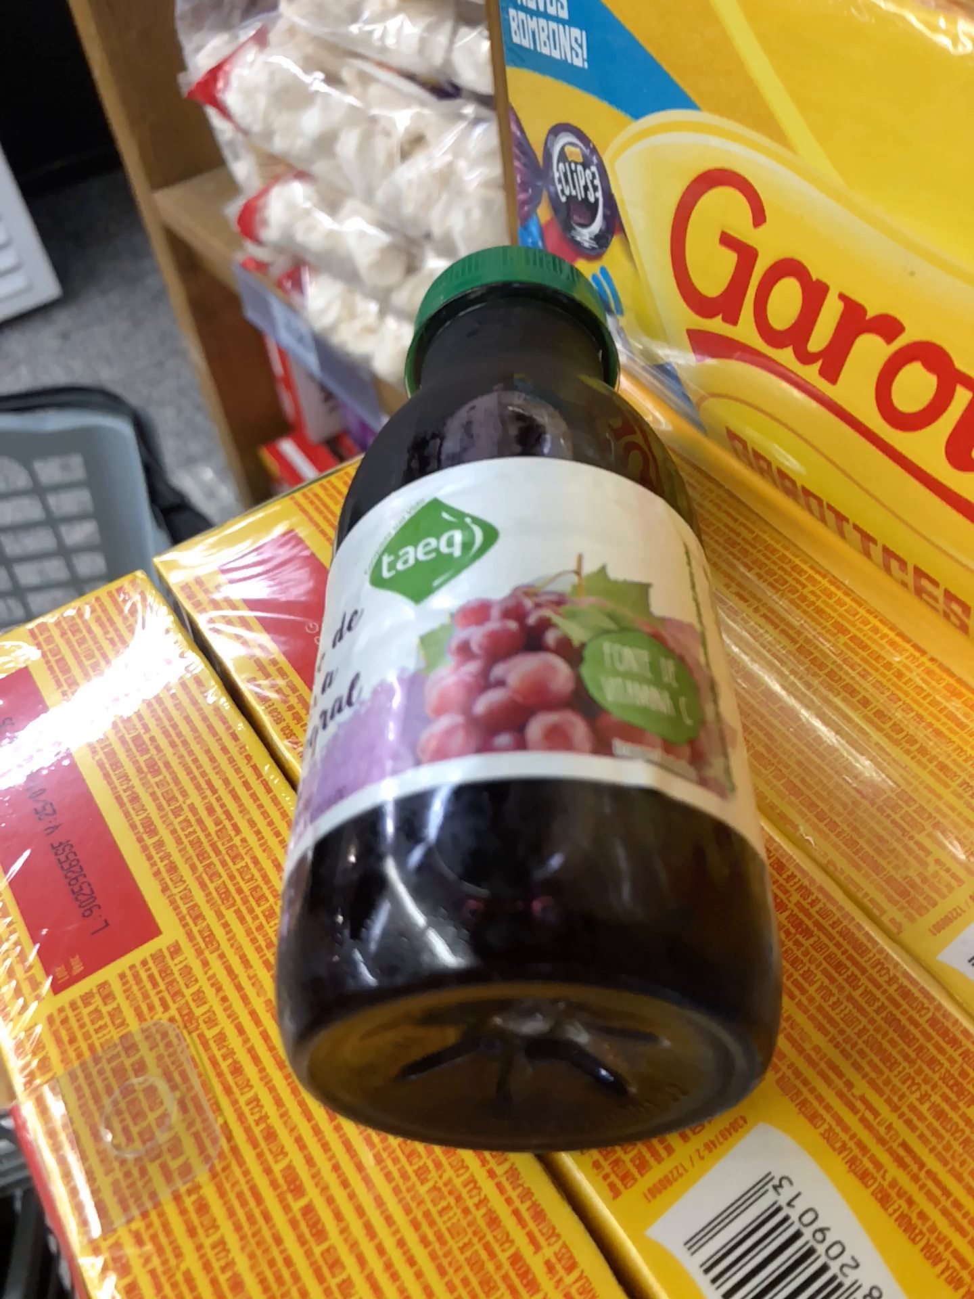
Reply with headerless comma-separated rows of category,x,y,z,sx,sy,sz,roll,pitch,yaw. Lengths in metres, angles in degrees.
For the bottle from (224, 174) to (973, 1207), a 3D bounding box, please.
bottle,0.014,-0.011,0.175,0.070,0.050,0.171,-3,47,4
